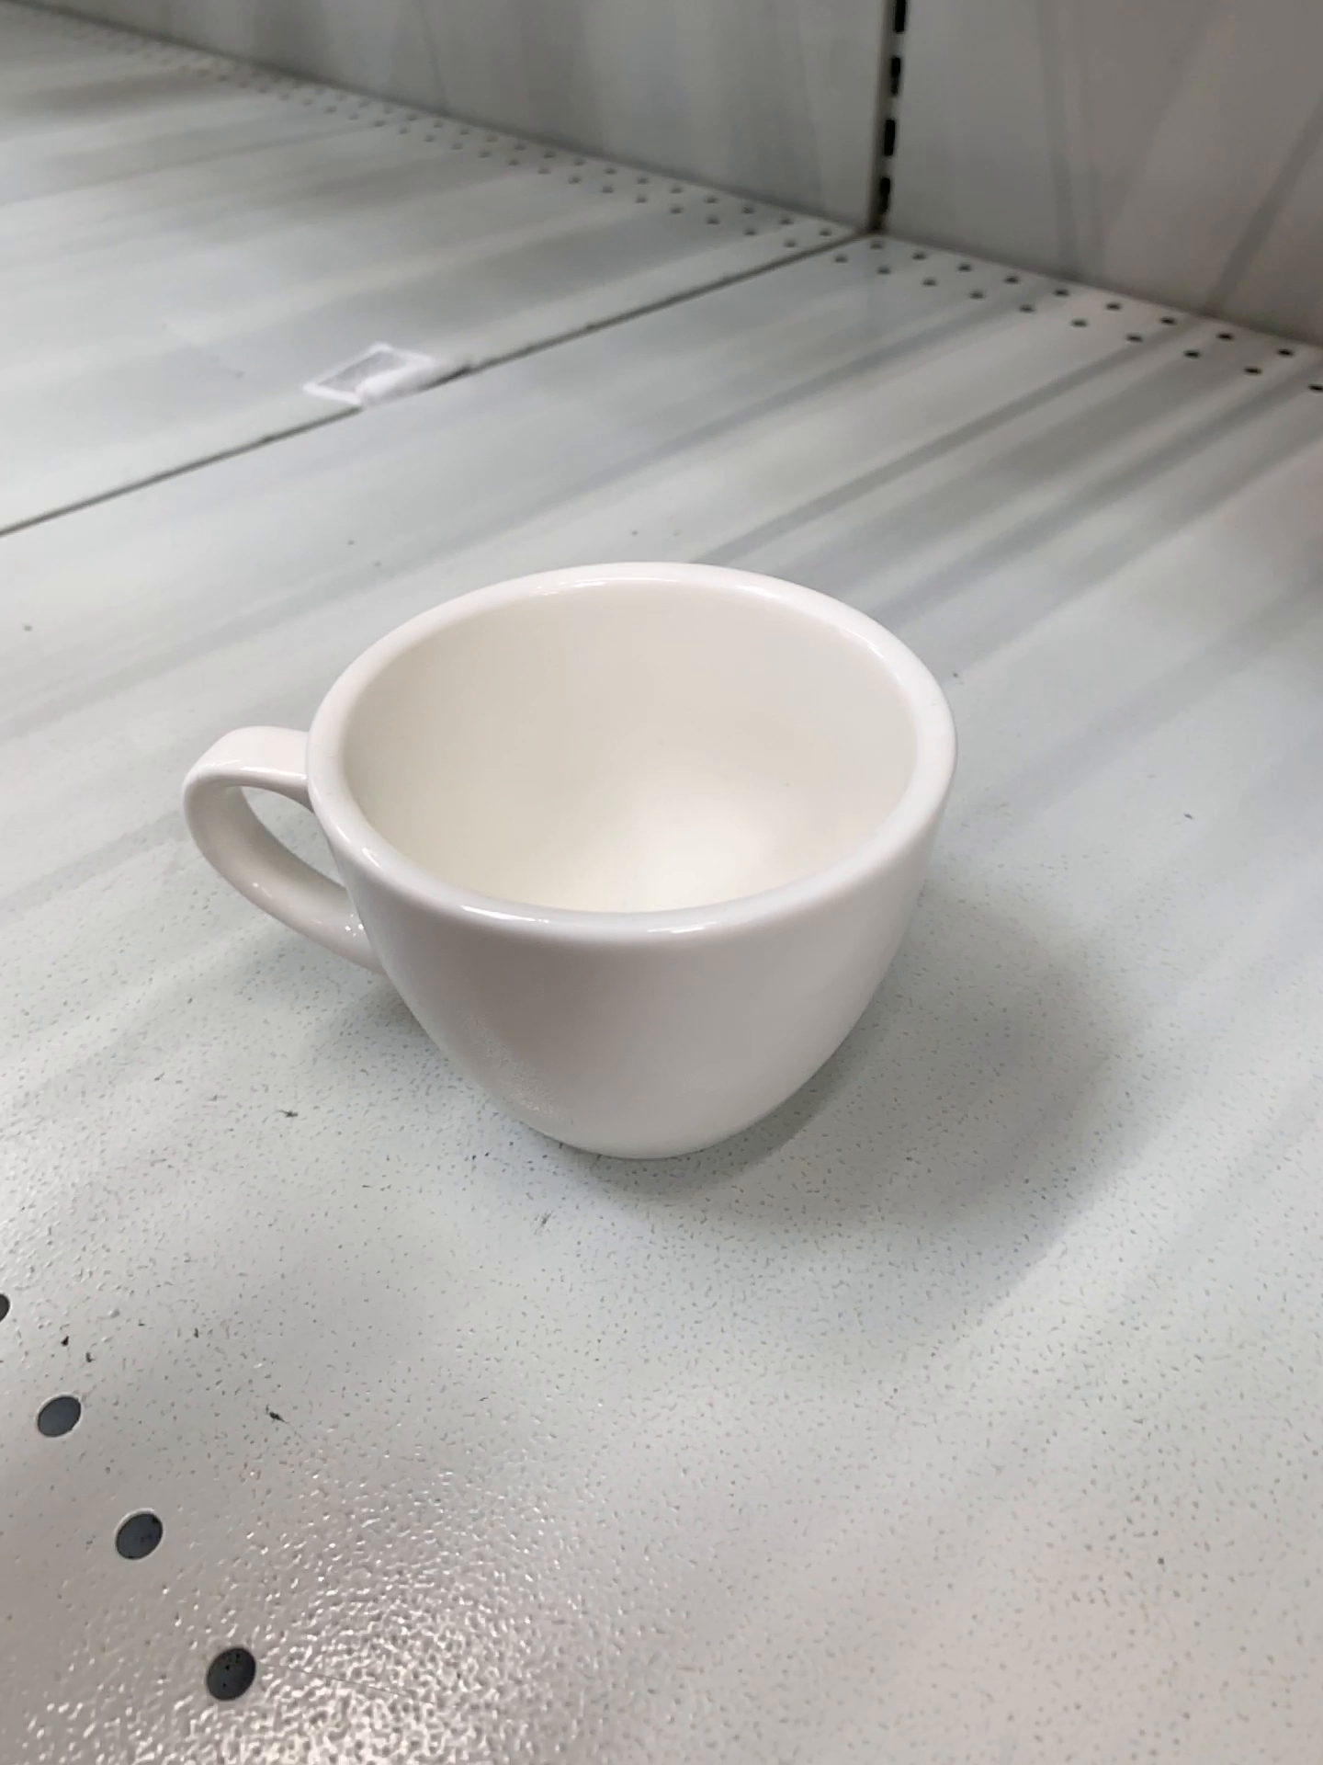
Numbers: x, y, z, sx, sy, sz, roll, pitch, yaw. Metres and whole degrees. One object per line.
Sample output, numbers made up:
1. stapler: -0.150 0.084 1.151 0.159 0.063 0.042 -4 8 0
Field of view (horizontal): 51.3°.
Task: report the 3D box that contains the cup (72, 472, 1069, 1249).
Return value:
1. cup: -0.009 -0.013 0.240 0.132 0.062 0.095 15 43 17
